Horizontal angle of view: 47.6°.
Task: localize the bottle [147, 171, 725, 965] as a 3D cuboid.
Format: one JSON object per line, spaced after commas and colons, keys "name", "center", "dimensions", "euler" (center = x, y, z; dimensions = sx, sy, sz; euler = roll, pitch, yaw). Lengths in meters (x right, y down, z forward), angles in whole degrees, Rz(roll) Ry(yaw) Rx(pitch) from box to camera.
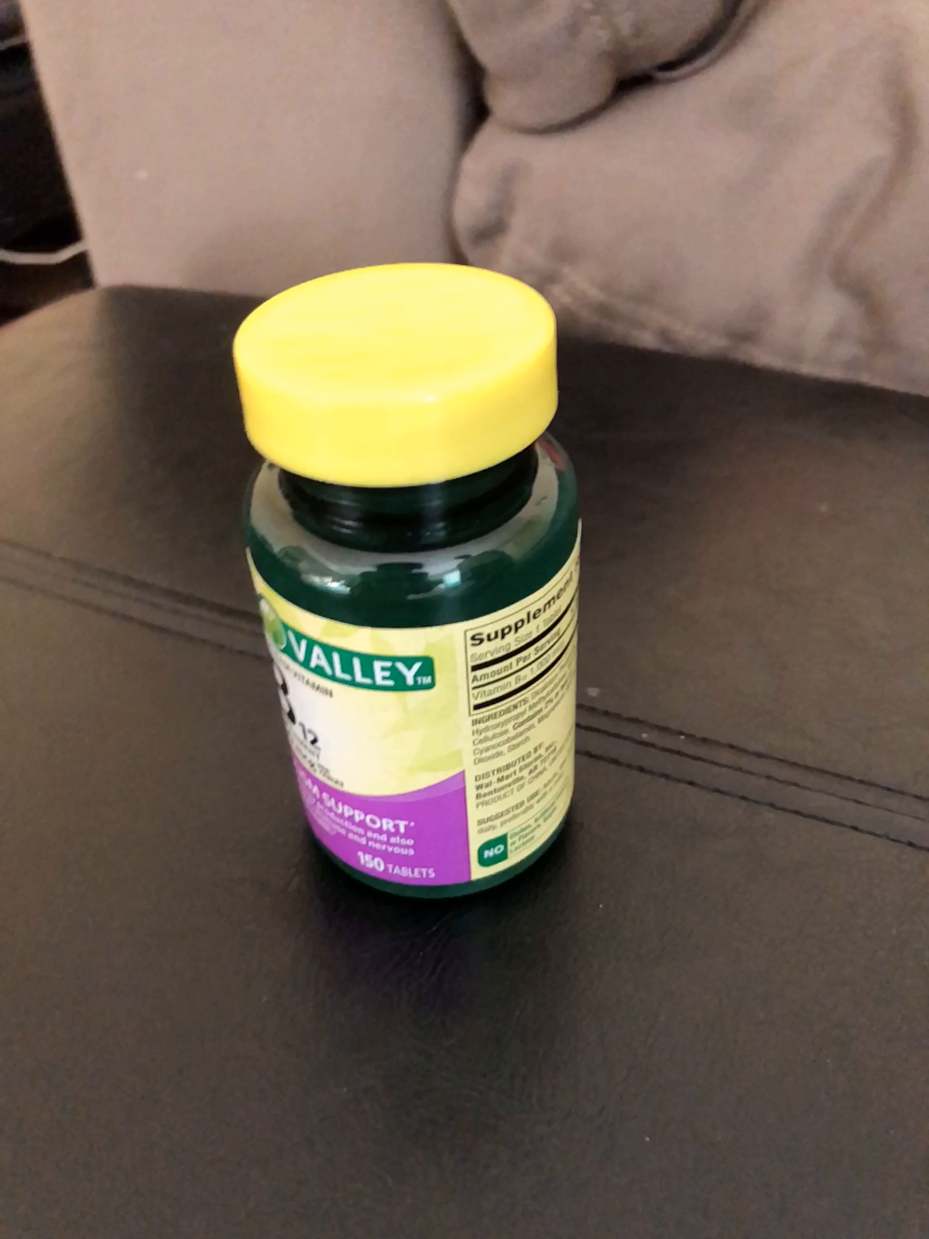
{"name": "bottle", "center": [-0.004, -0.007, 0.150], "dimensions": [0.050, 0.090, 0.050], "euler": [-2, 38, 1]}
